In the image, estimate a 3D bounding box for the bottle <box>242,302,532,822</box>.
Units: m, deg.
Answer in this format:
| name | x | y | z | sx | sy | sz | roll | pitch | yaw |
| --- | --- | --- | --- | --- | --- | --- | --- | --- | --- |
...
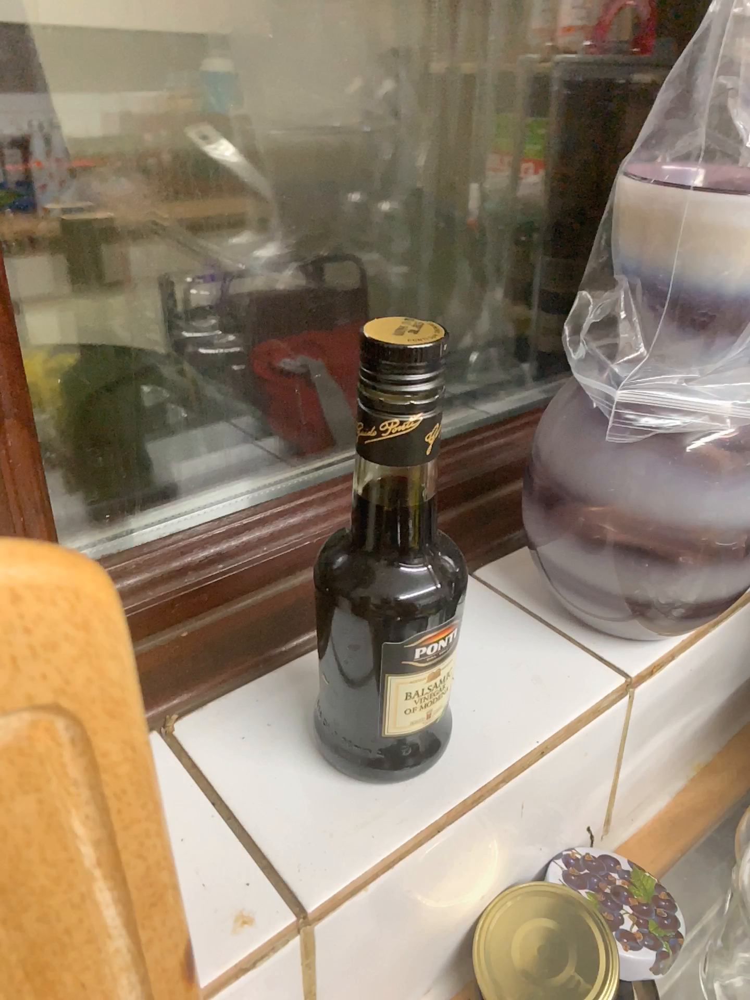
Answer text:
| name | x | y | z | sx | sy | sz | roll | pitch | yaw |
| --- | --- | --- | --- | --- | --- | --- | --- | --- | --- |
| bottle | 0.001 | 0.024 | 0.305 | 0.070 | 0.178 | 0.070 | 1 | 28 | -1 |
